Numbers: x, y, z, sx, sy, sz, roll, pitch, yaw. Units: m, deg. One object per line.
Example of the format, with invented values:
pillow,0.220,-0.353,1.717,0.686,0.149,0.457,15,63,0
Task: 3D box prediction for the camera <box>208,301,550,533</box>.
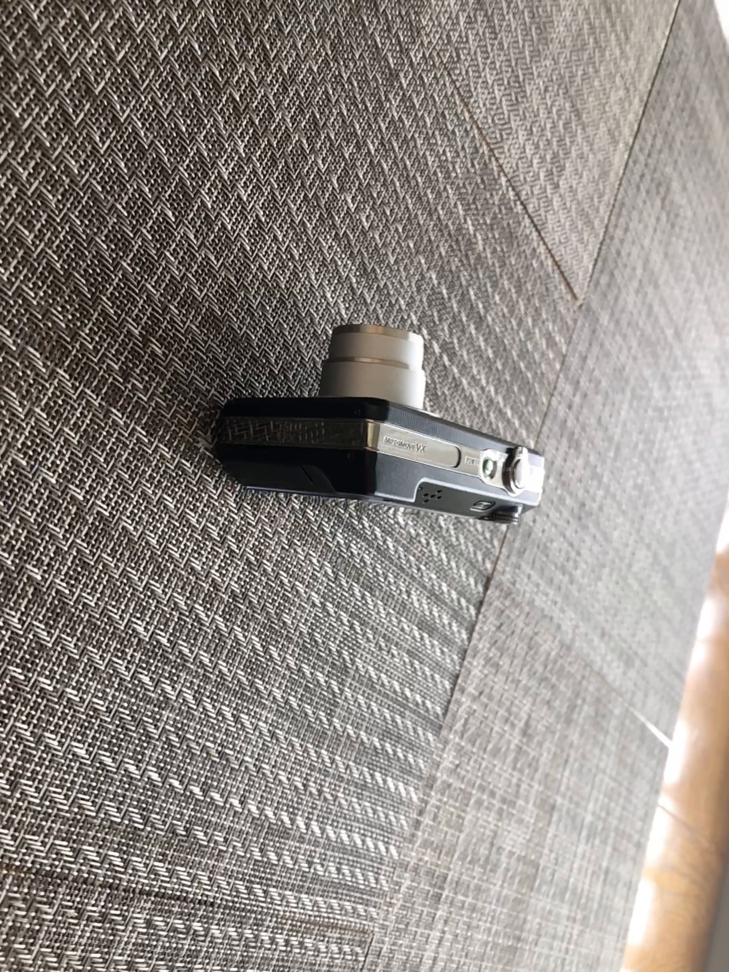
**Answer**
camera,0.009,-0.016,0.250,0.096,0.052,0.049,12,85,-51
